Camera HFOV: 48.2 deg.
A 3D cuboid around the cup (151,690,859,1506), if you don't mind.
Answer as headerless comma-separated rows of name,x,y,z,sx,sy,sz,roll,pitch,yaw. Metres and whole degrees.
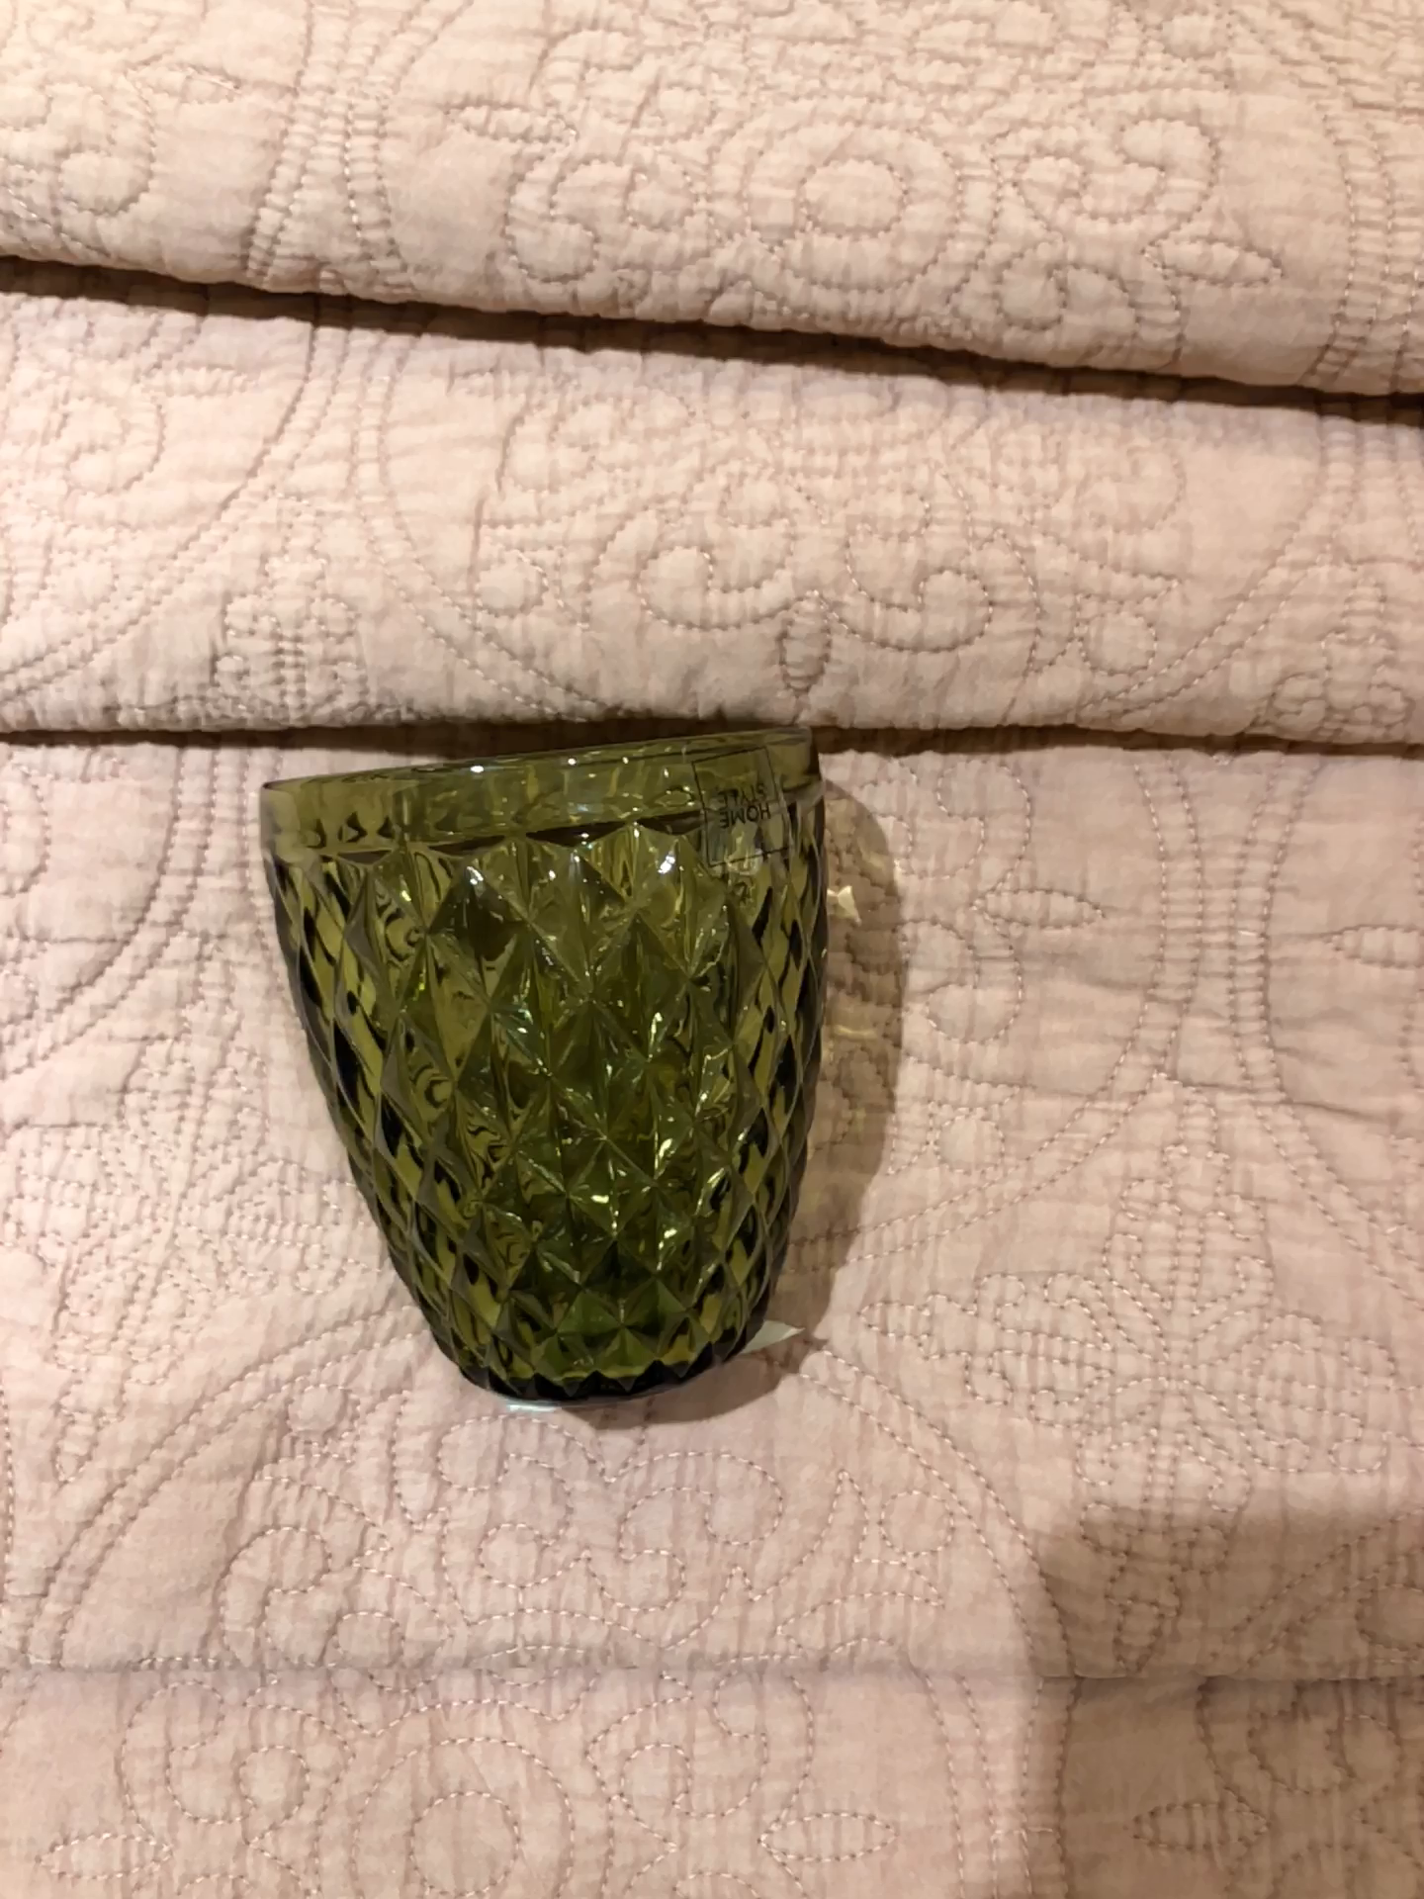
cup,-0.025,0.016,0.240,0.080,0.070,0.100,-5,101,1
